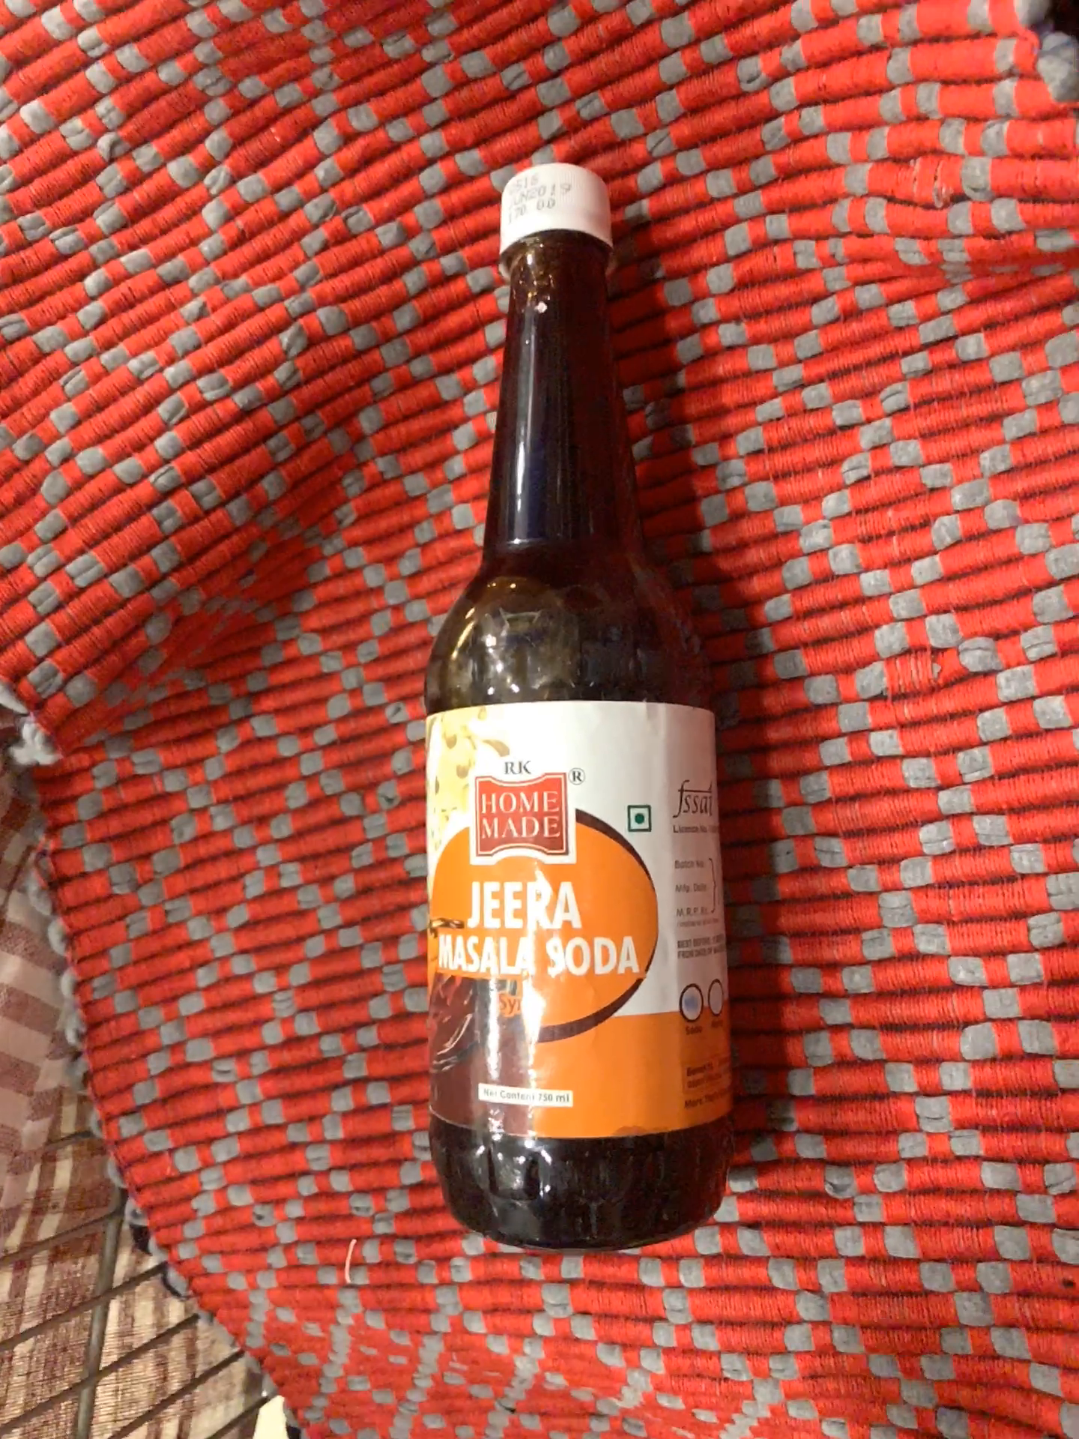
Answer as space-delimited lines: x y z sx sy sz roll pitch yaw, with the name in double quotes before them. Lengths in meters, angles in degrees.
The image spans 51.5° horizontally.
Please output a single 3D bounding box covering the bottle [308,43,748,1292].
"bottle" 0.003 -0.015 0.274 0.080 0.070 0.260 -3 80 21
